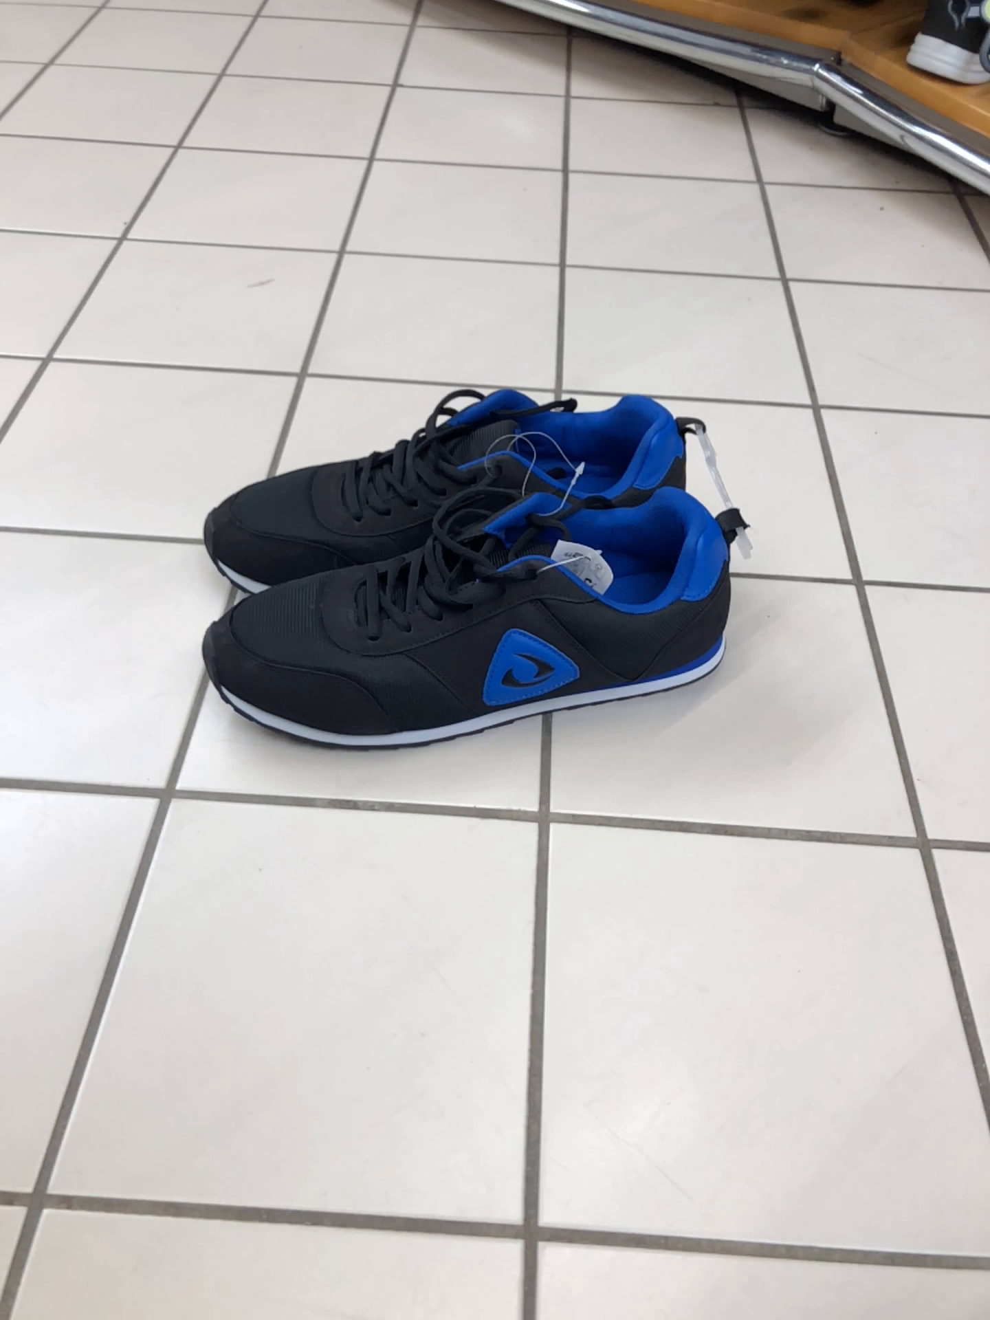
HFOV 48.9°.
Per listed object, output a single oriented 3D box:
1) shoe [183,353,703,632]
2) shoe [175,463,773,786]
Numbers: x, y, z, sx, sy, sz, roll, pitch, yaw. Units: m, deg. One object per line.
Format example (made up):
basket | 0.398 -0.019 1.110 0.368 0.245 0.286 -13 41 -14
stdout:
shoe | -0.034 -0.105 0.676 0.290 0.109 0.100 -6 47 -8
shoe | -0.015 -0.022 0.595 0.290 0.109 0.100 -6 47 -8
